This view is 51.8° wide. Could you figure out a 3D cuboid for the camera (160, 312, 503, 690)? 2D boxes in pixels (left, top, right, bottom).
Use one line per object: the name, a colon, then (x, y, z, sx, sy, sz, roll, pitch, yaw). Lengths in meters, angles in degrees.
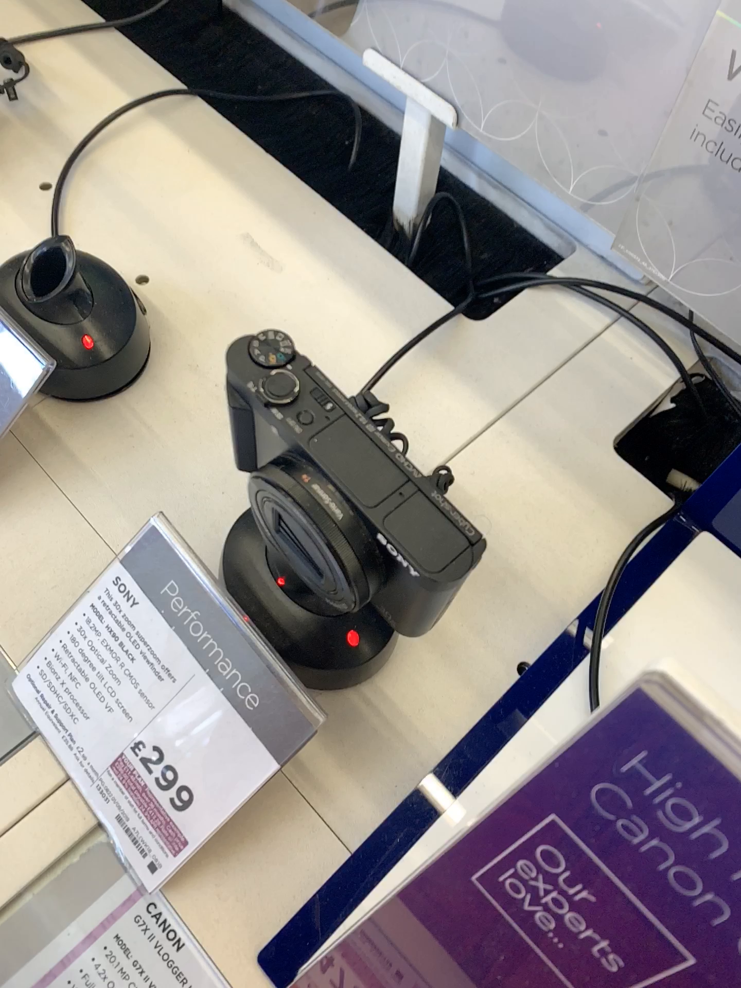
camera: (-0.015, 0.004, 0.239, 0.040, 0.060, 0.100, -37, 73, -21)
